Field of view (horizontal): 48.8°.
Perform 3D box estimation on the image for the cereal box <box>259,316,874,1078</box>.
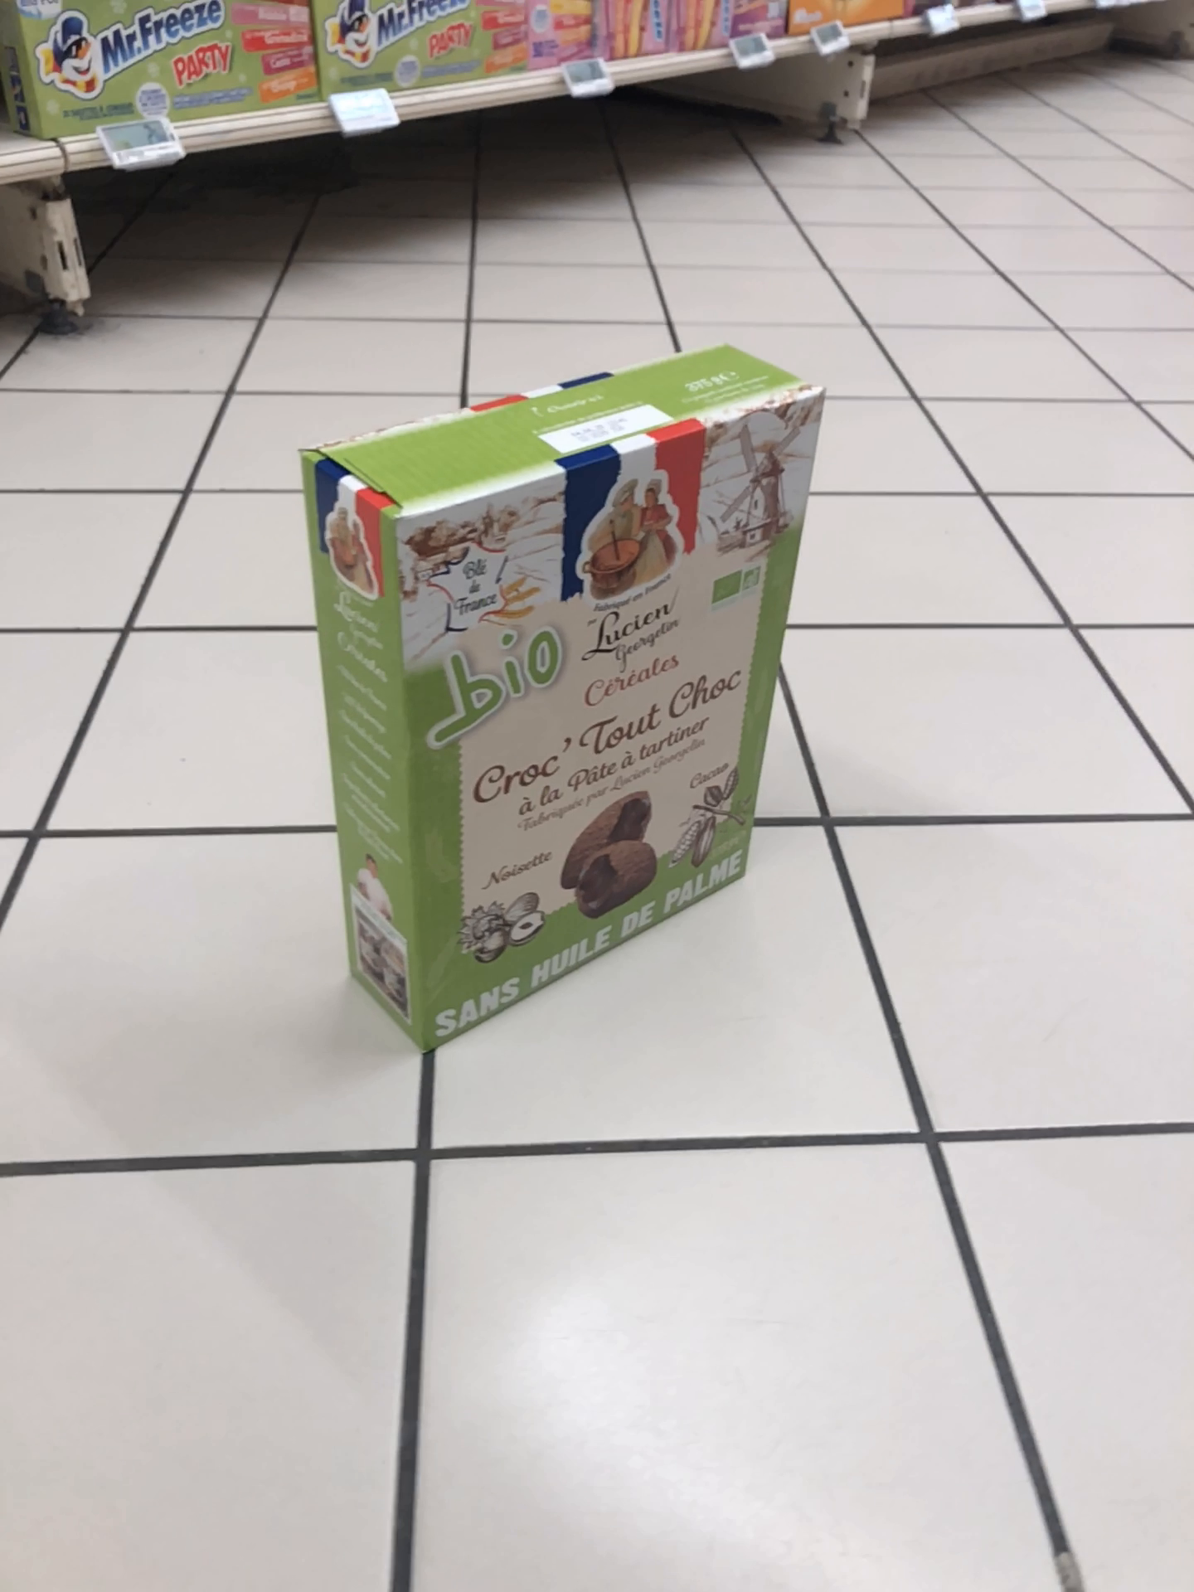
[{"bbox_3d":[-0.008,-0.040,0.517,0.201,0.239,0.080,-24,44,-31],"label":"cereal box"}]
